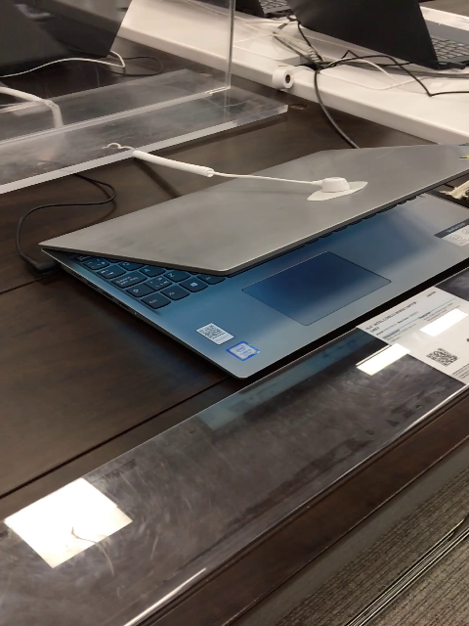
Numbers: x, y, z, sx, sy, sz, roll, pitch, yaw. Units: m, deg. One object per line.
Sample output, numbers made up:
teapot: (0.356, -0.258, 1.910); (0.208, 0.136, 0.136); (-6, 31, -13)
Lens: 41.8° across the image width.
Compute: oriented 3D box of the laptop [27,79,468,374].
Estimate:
laptop: (0.064, -0.108, 0.579); (0.367, 0.097, 0.245); (-29, 50, -31)
